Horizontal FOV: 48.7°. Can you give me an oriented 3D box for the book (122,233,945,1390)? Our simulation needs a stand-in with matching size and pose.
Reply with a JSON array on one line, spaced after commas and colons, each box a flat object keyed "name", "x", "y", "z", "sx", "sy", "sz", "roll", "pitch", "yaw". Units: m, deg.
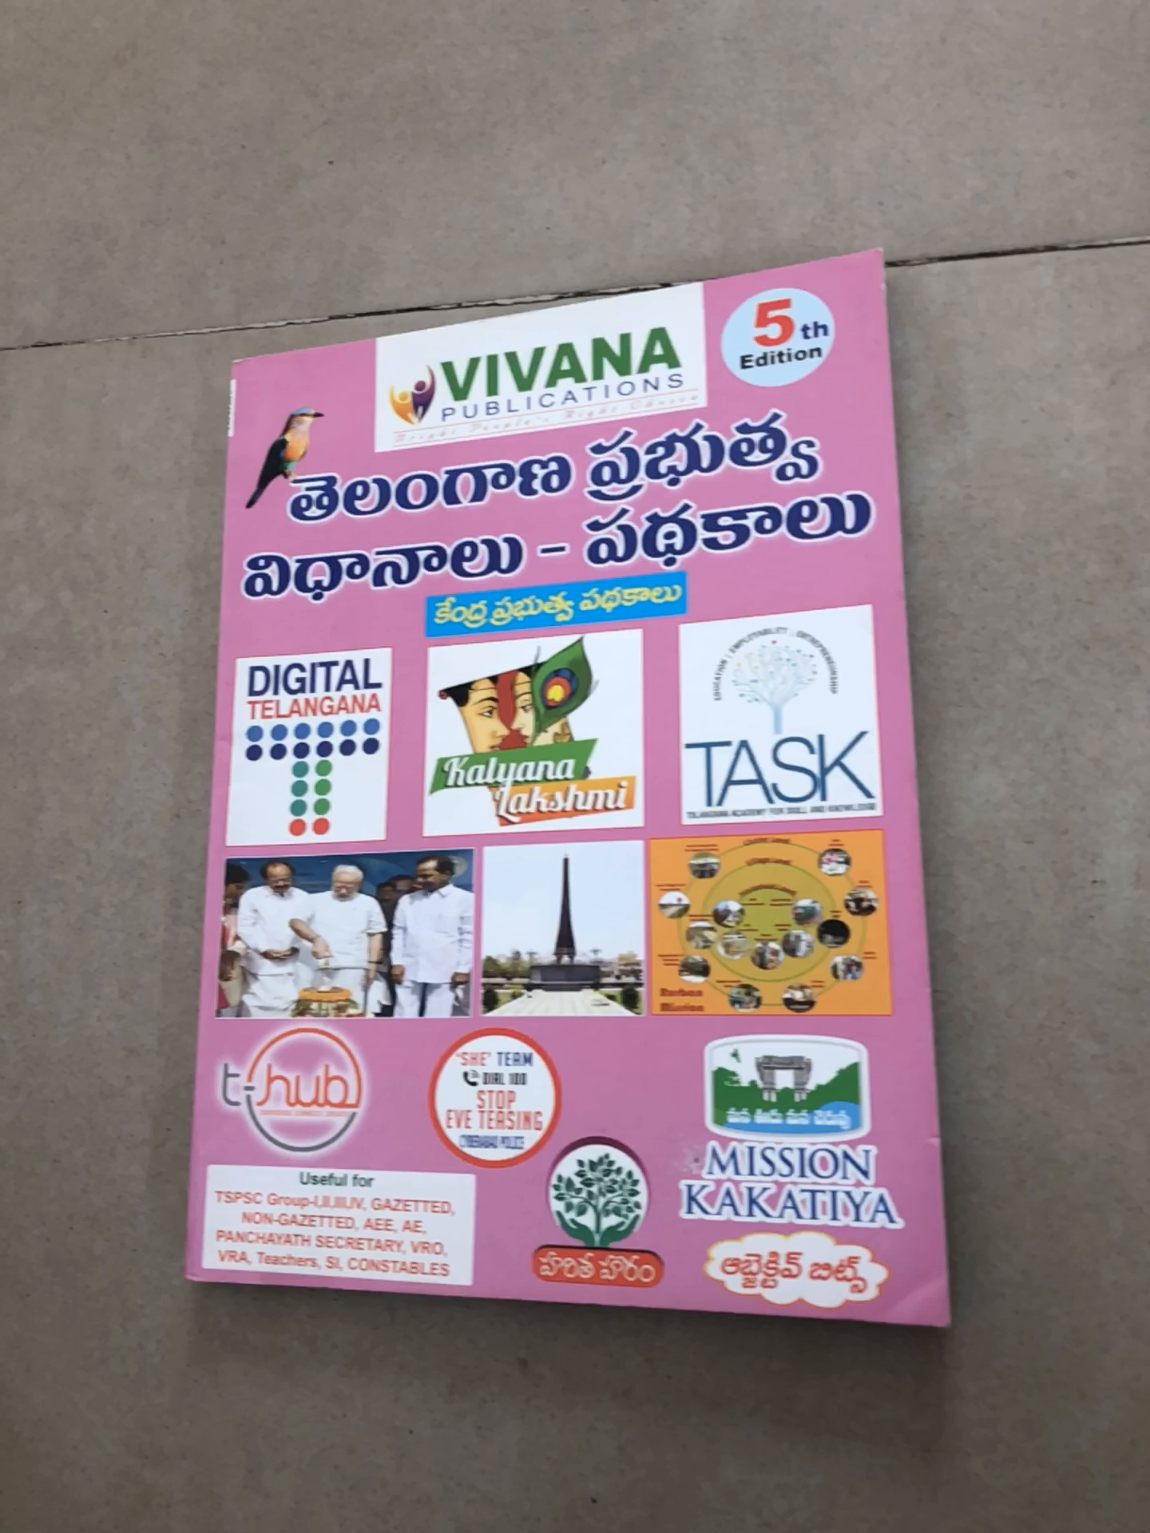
[{"name": "book", "x": -0.012, "y": 0.006, "z": 0.340, "sx": 0.200, "sy": 0.040, "sz": 0.270, "roll": -3, "pitch": 78, "yaw": 16}]
